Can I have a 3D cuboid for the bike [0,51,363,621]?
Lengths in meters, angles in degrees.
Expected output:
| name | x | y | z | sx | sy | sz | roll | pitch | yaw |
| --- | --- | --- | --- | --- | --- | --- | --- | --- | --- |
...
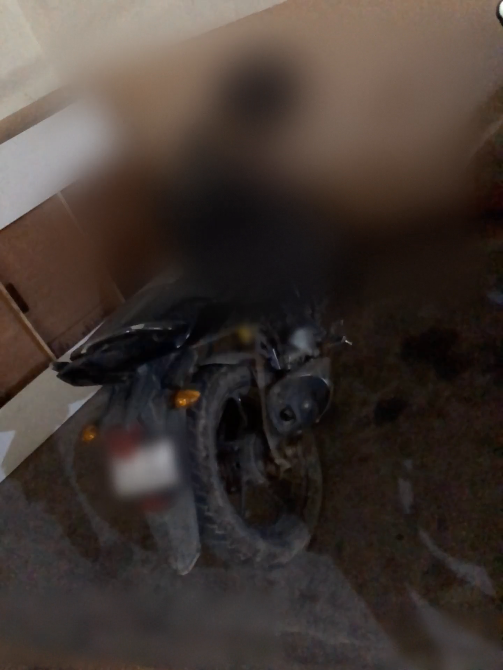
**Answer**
| name | x | y | z | sx | sy | sz | roll | pitch | yaw |
| --- | --- | --- | --- | --- | --- | --- | --- | --- | --- |
| bike | -0.131 | -0.123 | 1.992 | 0.718 | 1.179 | 1.710 | -10 | 34 | 22 |
